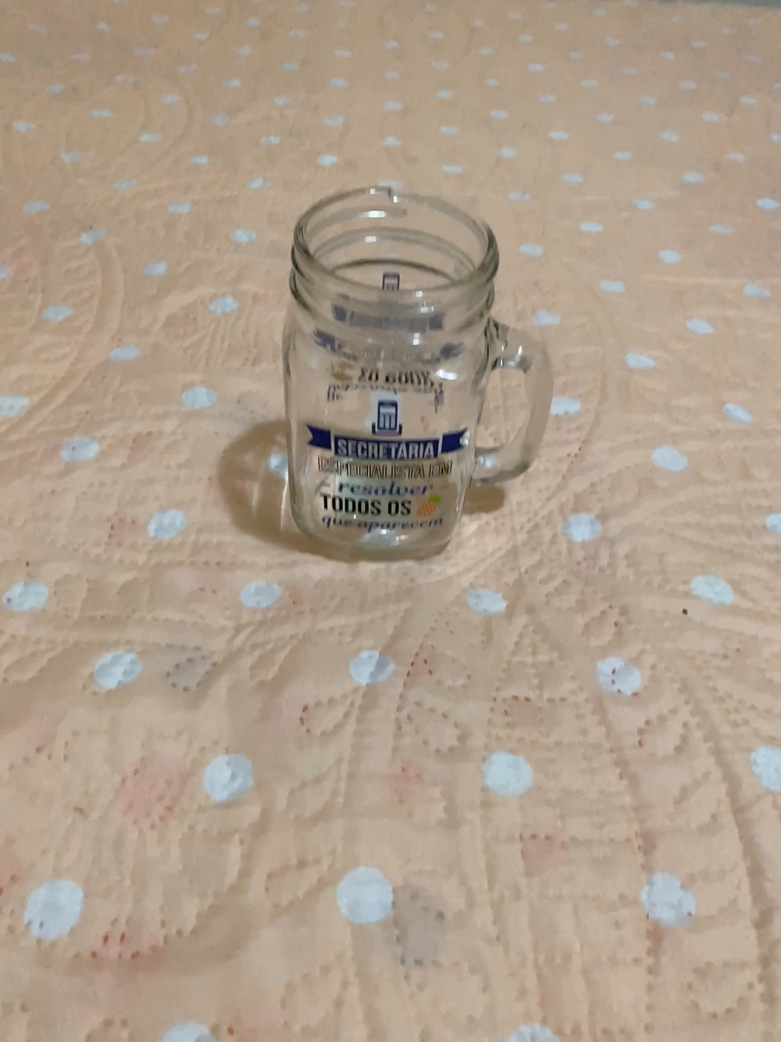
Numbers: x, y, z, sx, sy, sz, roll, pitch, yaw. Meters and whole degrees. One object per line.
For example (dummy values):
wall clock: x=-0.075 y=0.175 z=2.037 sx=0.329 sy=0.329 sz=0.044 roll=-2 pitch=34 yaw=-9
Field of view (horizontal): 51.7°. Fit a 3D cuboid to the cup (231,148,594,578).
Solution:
cup: x=0.006 y=-0.054 z=0.292 sx=0.100 sy=0.119 sz=0.080 roll=6 pitch=46 yaw=1
